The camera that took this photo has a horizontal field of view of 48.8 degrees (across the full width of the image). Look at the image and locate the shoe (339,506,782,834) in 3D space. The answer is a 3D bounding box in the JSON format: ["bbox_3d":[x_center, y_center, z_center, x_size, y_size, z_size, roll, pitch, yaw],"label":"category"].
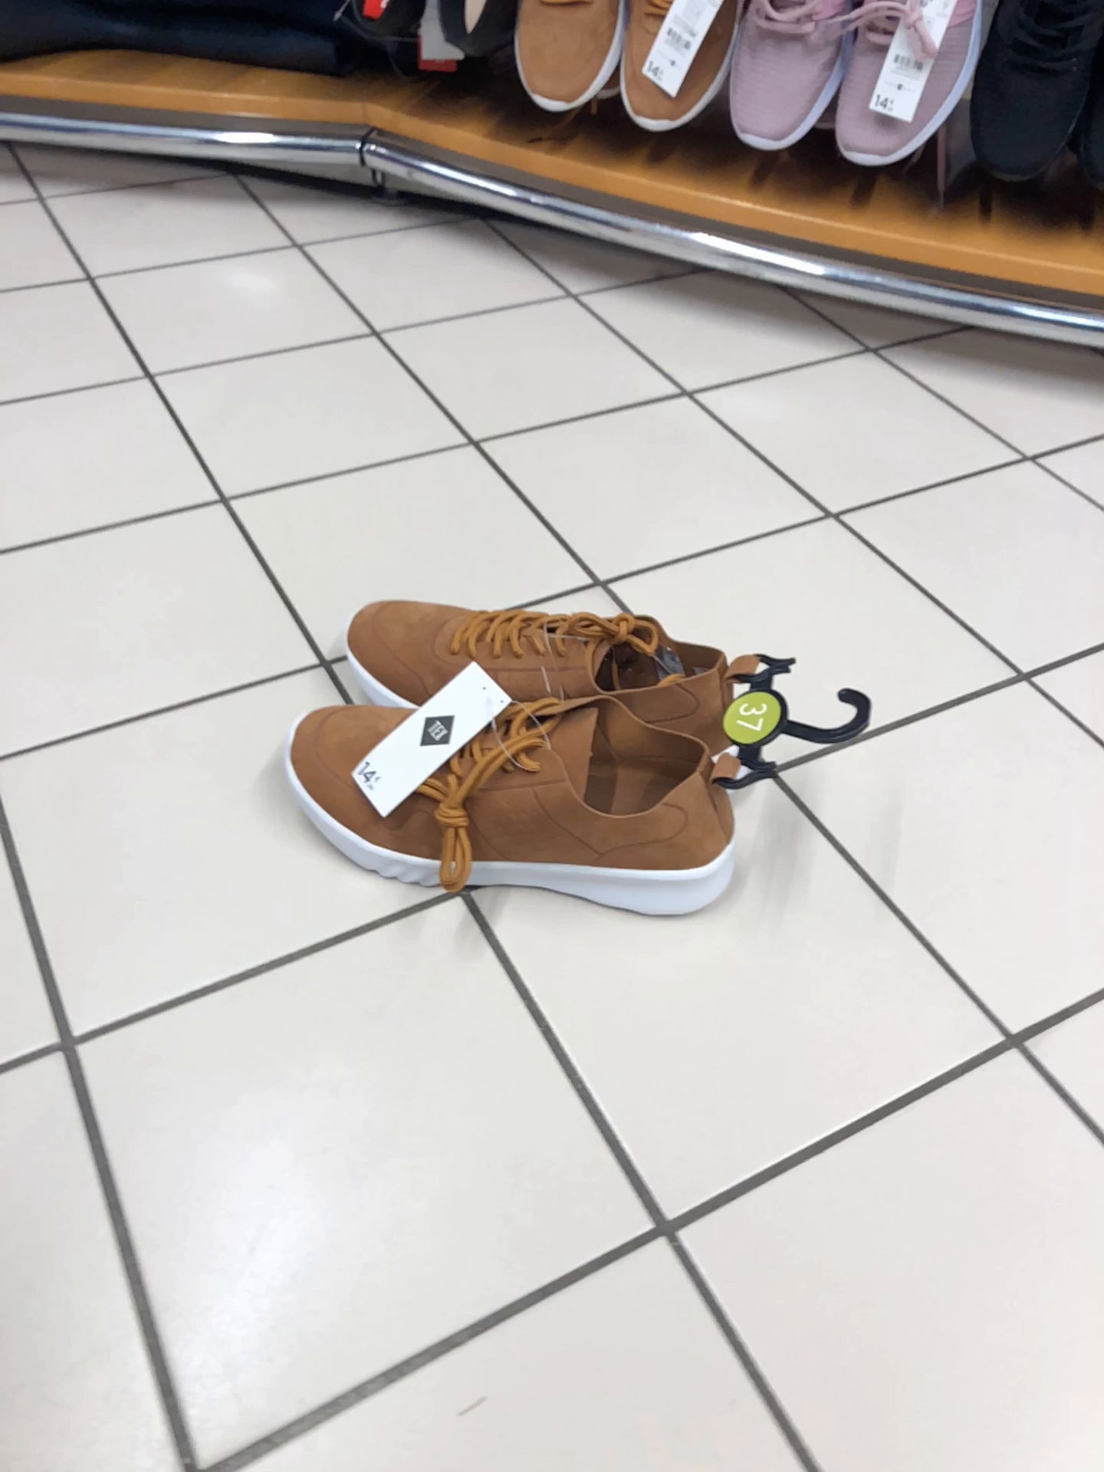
[{"bbox_3d":[0.004,-0.040,0.685,0.220,0.099,0.091,15,45,11],"label":"shoe"}]

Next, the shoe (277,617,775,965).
[{"bbox_3d":[-0.012,0.027,0.634,0.230,0.099,0.091,12,44,8],"label":"shoe"}]
